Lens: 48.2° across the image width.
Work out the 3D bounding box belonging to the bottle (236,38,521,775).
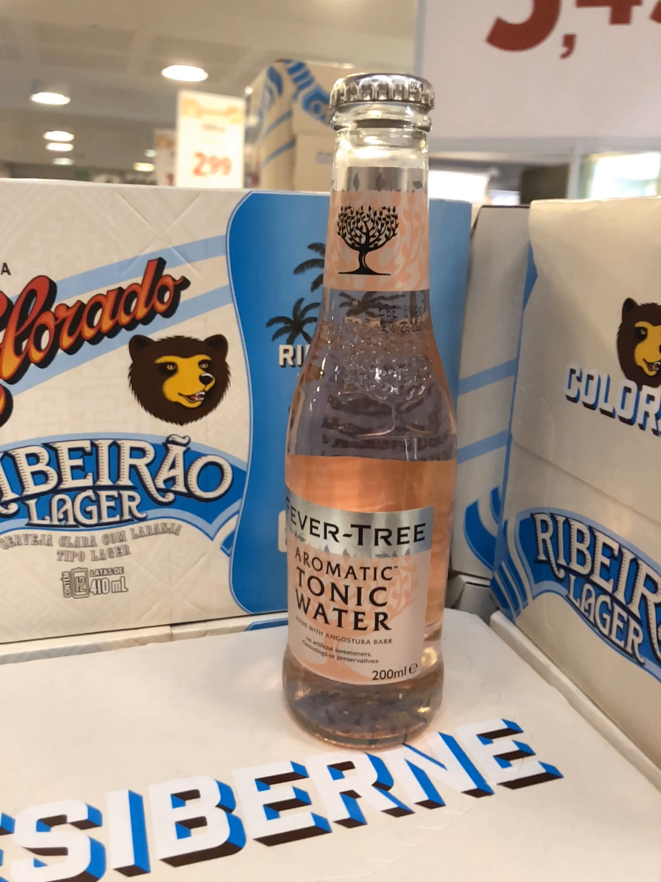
[{"bbox_3d":[0.012,-0.007,0.220,0.060,0.189,0.050,9,15,23],"label":"bottle"}]
